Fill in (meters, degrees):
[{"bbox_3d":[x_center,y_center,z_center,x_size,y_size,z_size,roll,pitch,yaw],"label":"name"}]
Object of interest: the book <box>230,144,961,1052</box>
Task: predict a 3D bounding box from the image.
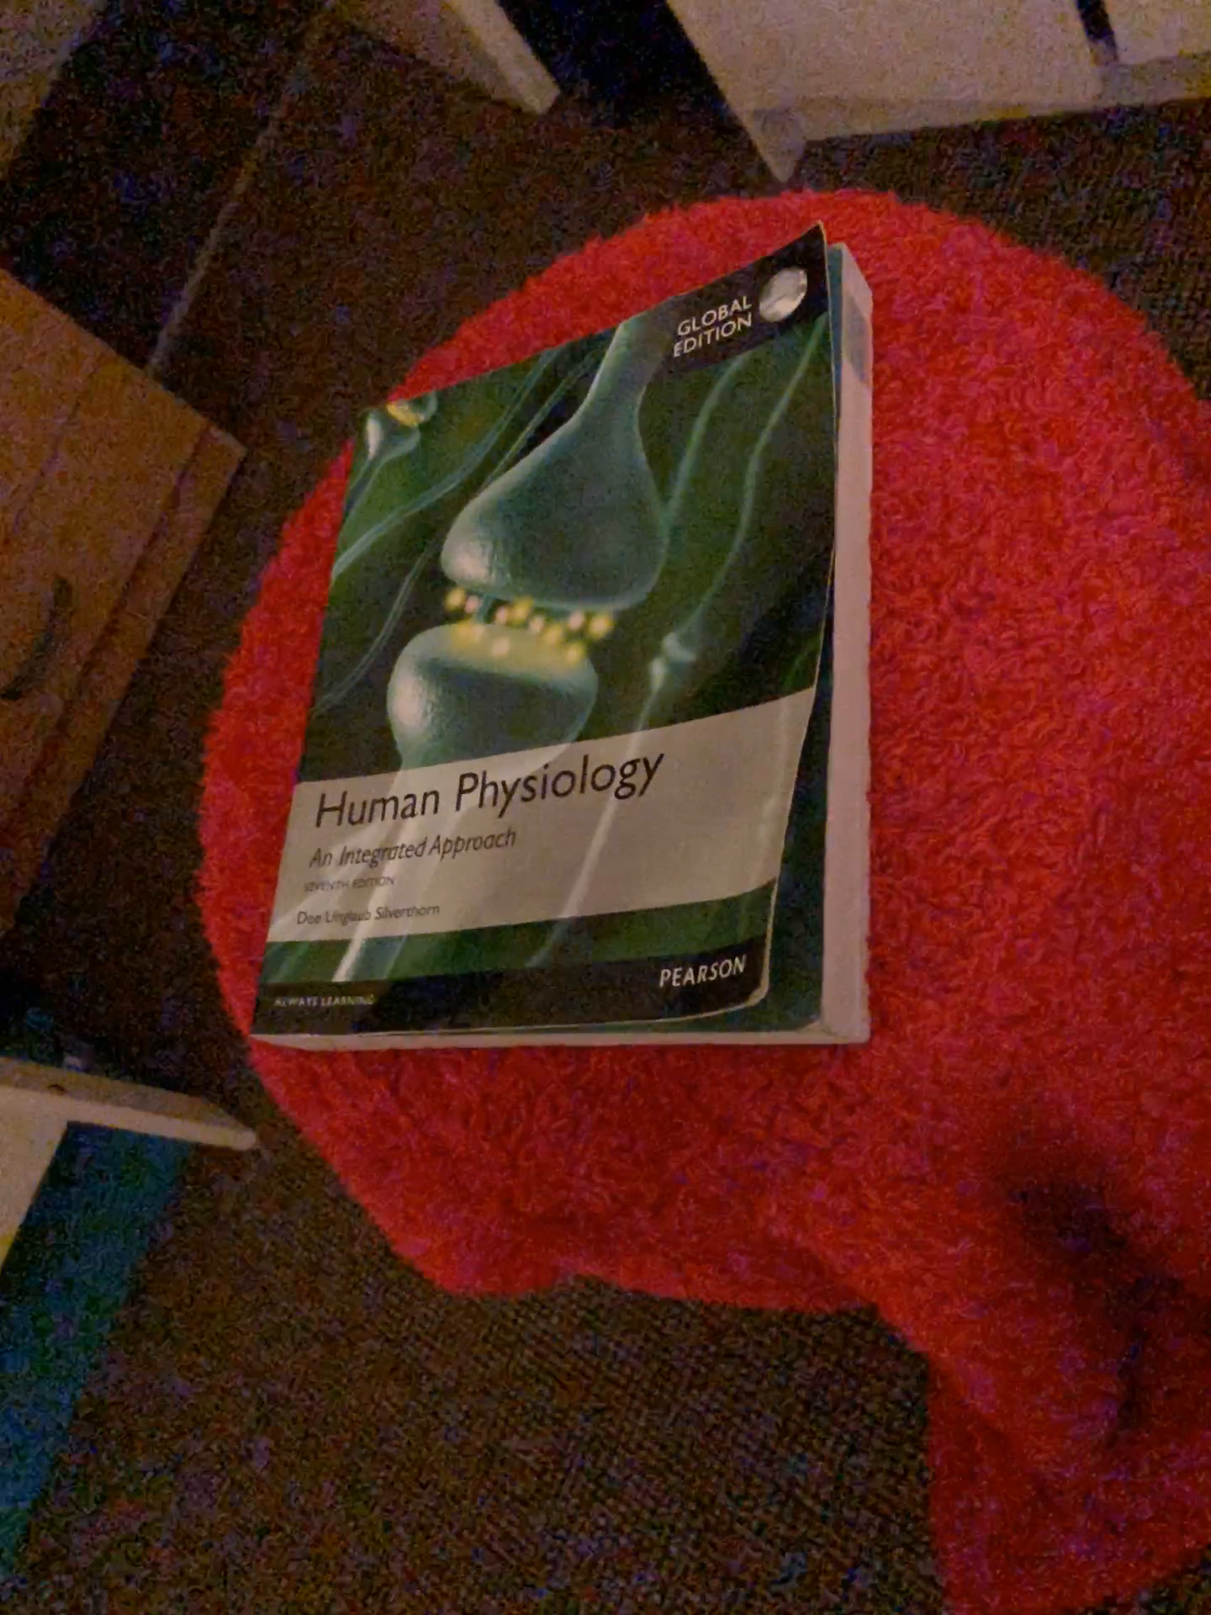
[{"bbox_3d":[-0.001,-0.065,0.473,0.251,0.069,0.301,-8,65,32],"label":"book"}]
